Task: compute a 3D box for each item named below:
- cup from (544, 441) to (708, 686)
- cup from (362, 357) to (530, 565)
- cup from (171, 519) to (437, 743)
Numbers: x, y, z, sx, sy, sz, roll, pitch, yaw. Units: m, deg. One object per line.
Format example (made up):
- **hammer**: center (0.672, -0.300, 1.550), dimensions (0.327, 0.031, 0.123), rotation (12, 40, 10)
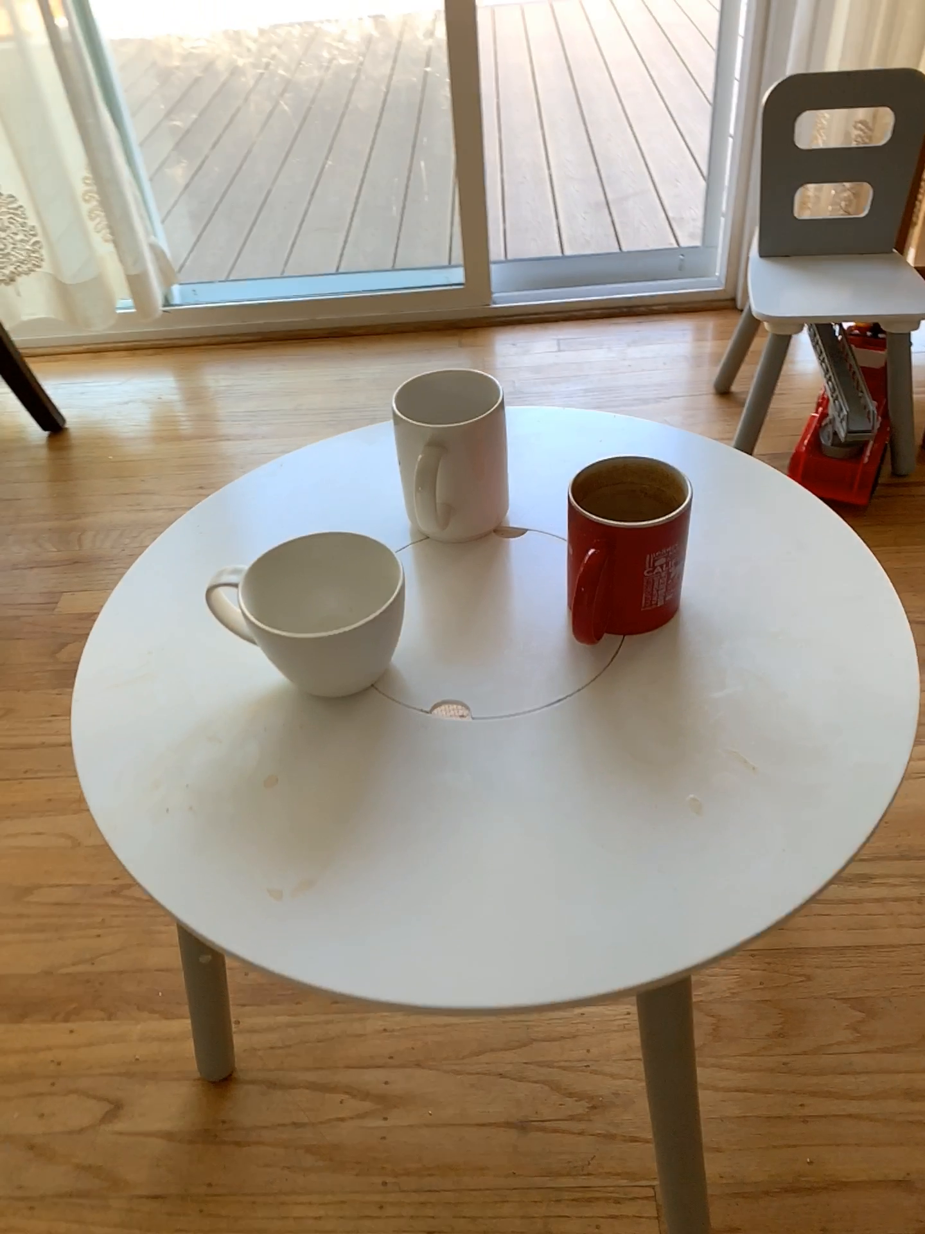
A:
- **cup**: center (0.114, -0.040, 0.656), dimensions (0.080, 0.100, 0.130), rotation (11, 45, 17)
- **cup**: center (-0.007, -0.121, 0.722), dimensions (0.090, 0.100, 0.120), rotation (8, 44, 14)
- **cup**: center (-0.103, 0.005, 0.642), dimensions (0.130, 0.070, 0.110), rotation (14, 45, 20)
